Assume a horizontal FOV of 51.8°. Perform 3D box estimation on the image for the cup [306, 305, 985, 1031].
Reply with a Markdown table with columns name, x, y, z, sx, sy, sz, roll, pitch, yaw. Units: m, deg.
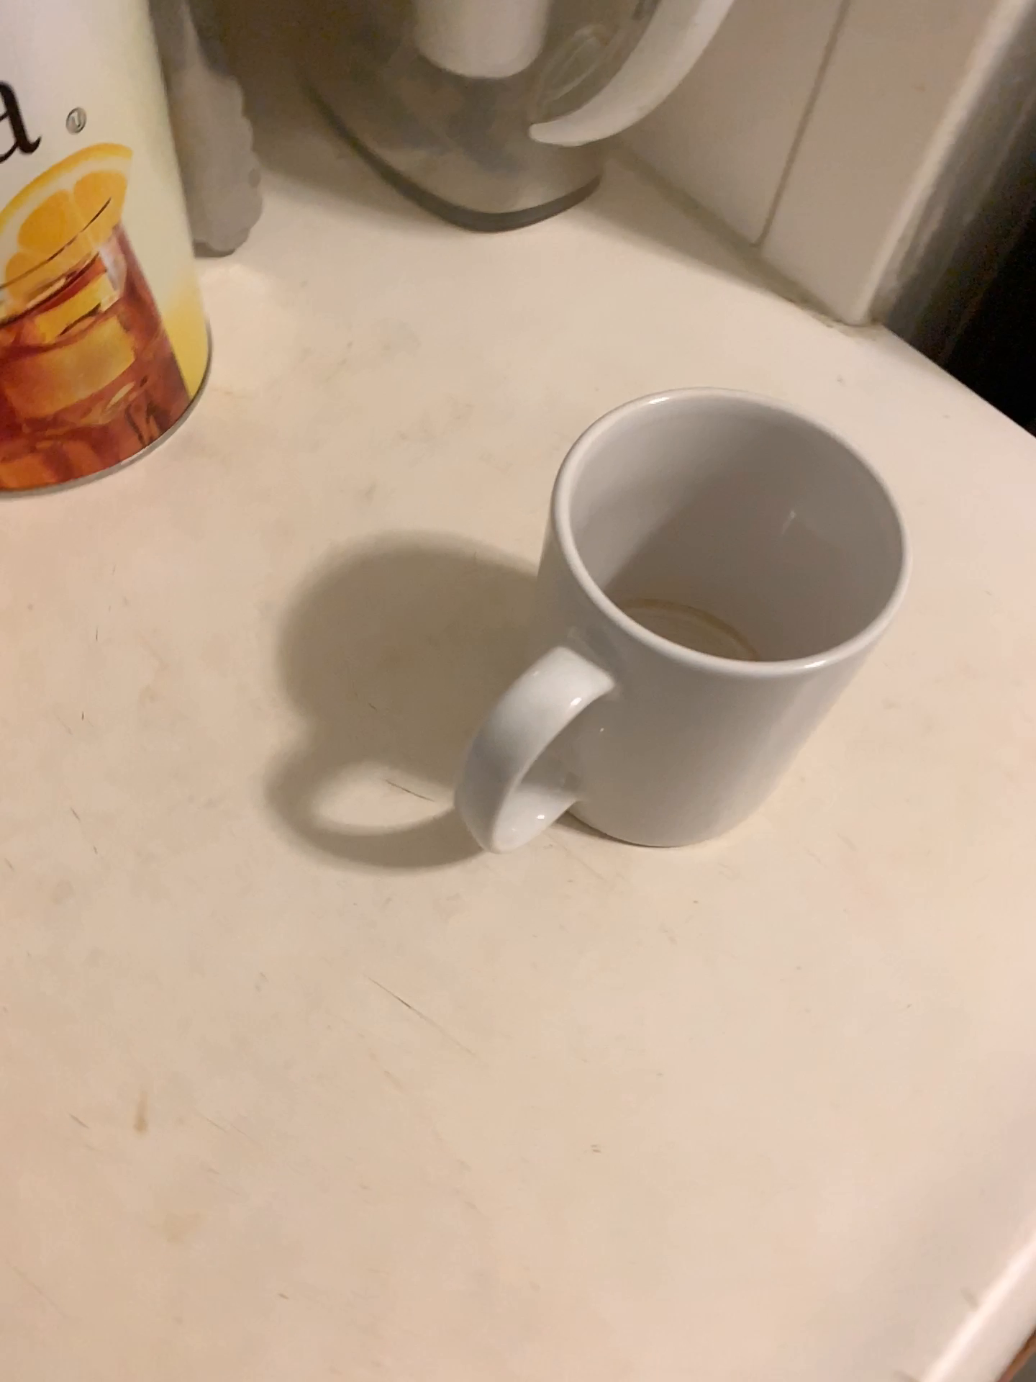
| name | x | y | z | sx | sy | sz | roll | pitch | yaw |
| --- | --- | --- | --- | --- | --- | --- | --- | --- | --- |
| cup | 0.029 | -0.005 | 0.289 | 0.090 | 0.110 | 0.140 | 39 | 62 | 16 |
